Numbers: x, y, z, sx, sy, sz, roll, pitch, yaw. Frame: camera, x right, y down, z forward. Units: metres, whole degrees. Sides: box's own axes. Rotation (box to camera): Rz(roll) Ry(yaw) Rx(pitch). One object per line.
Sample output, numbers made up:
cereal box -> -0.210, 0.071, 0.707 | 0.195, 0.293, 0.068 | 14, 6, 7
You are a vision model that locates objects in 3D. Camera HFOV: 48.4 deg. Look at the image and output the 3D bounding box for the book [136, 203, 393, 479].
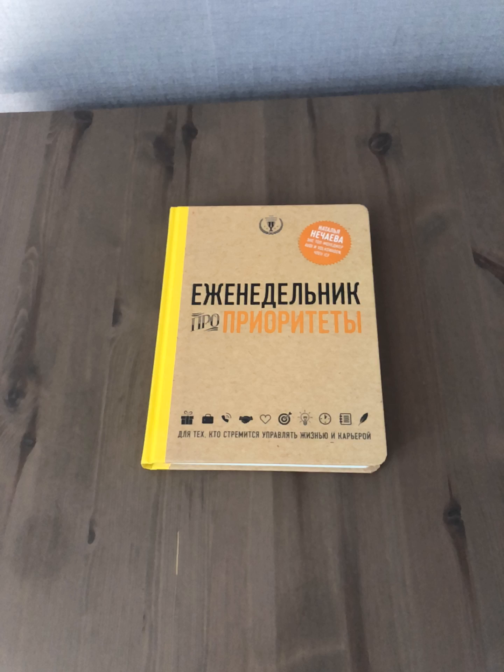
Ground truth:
book -> 0.011, -0.004, 0.455 | 0.180, 0.032, 0.229 | 0, 65, 3
